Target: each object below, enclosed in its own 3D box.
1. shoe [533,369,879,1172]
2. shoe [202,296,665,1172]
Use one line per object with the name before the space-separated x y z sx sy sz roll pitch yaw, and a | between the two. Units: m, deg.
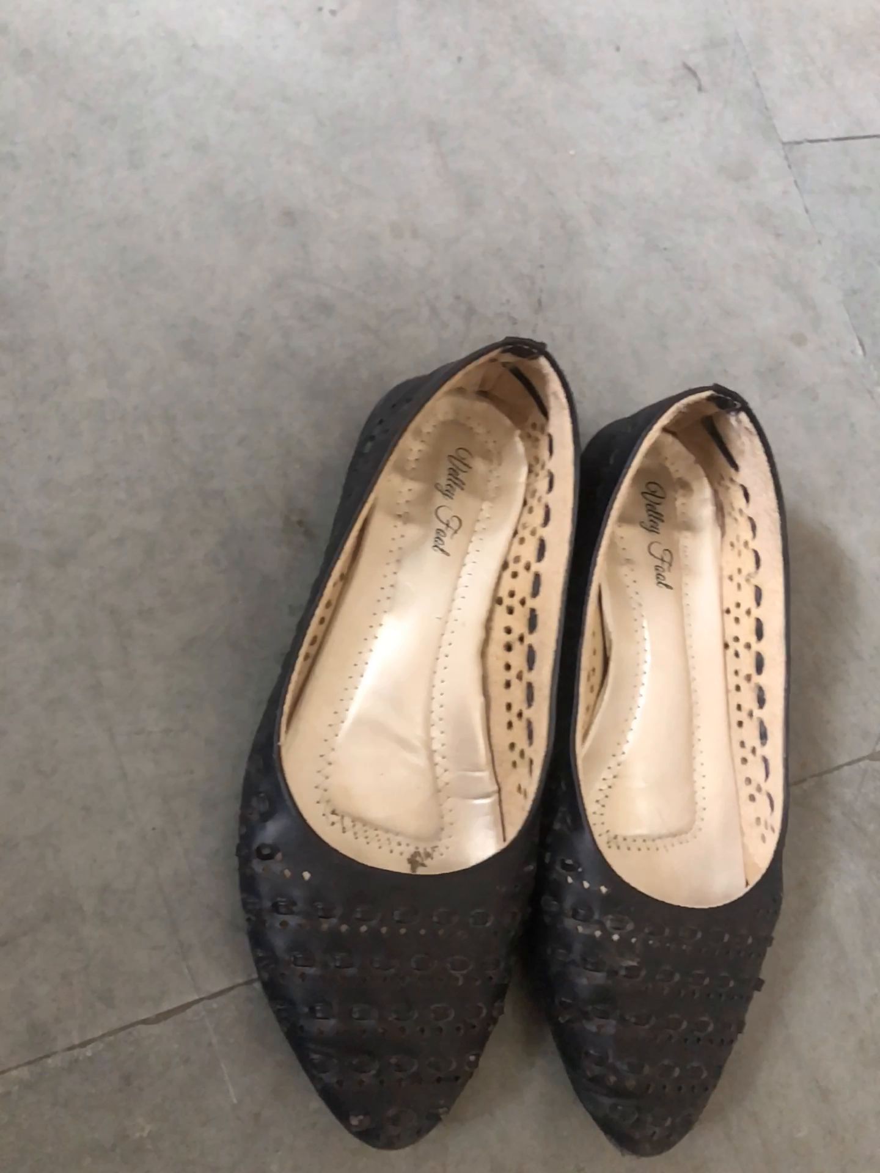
shoe | 0.095 0.063 0.325 0.096 0.073 0.242 9 73 -17
shoe | 0.003 0.047 0.291 0.096 0.062 0.242 12 72 -16
